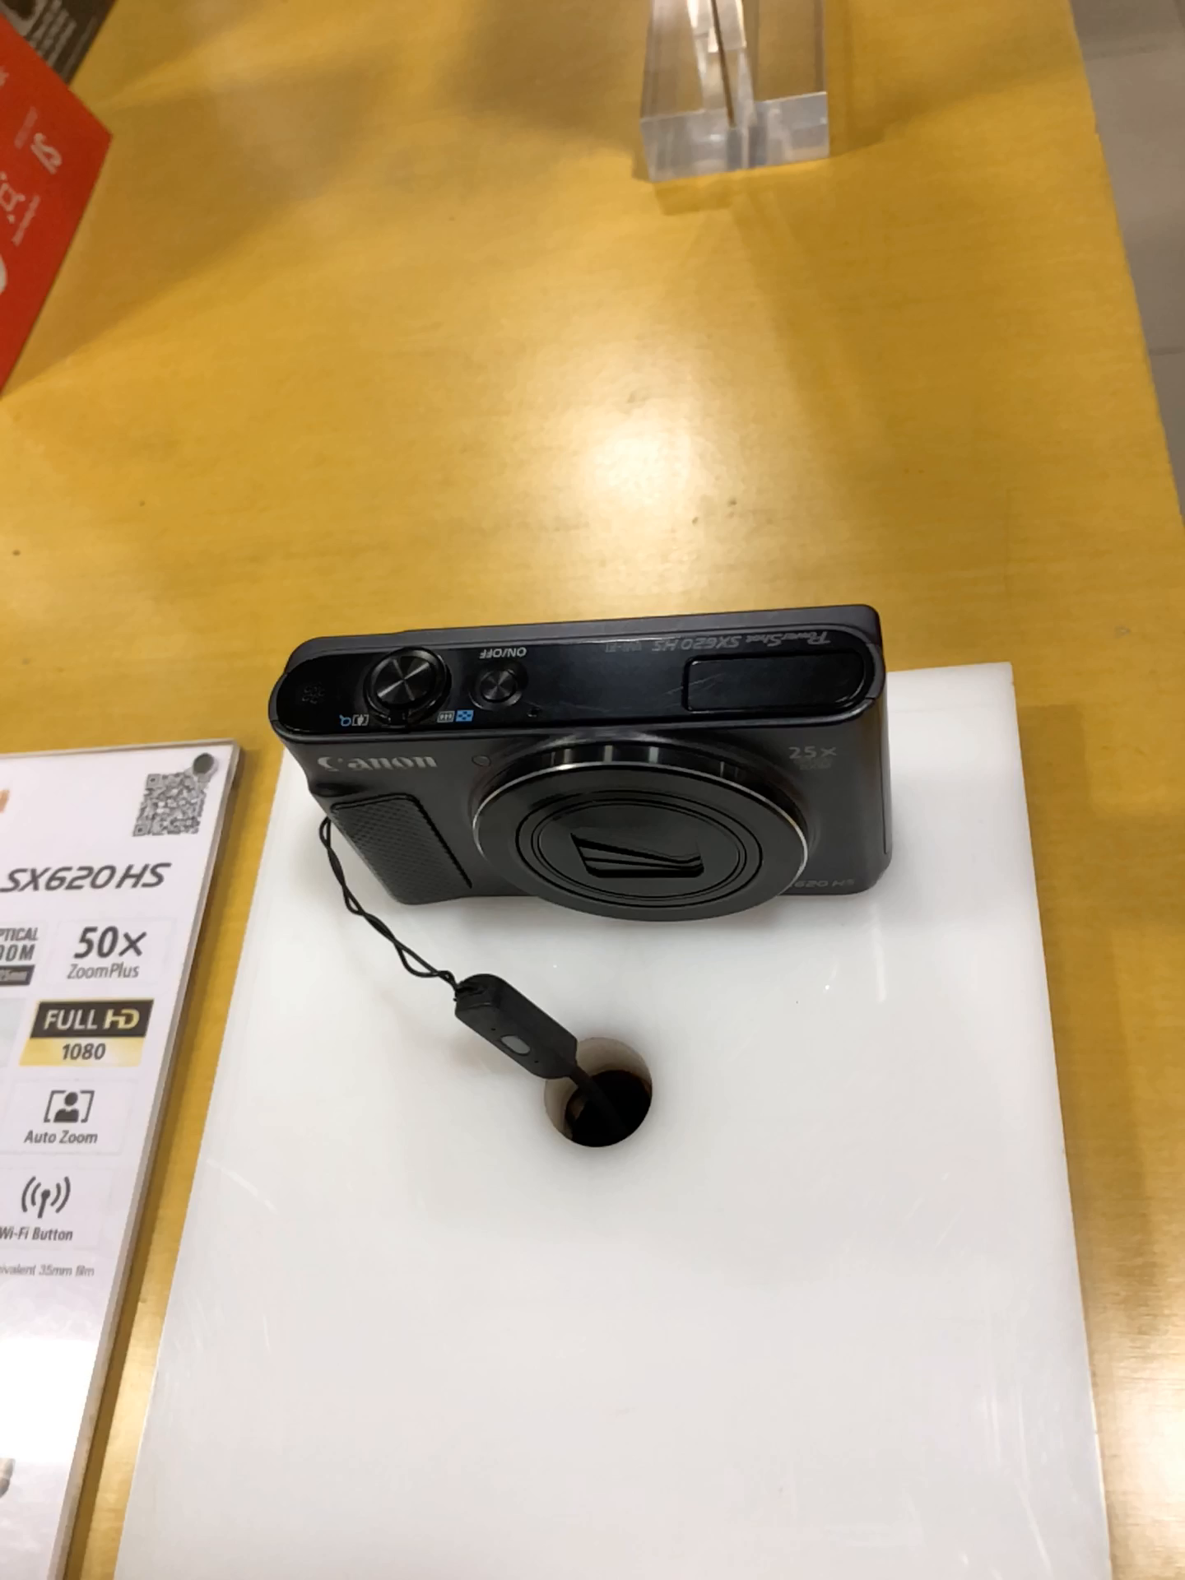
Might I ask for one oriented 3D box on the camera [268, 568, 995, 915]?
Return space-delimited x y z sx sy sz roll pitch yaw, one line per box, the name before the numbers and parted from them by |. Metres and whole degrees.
camera | 0.010 -0.005 0.230 0.110 0.060 0.030 -1 60 13
